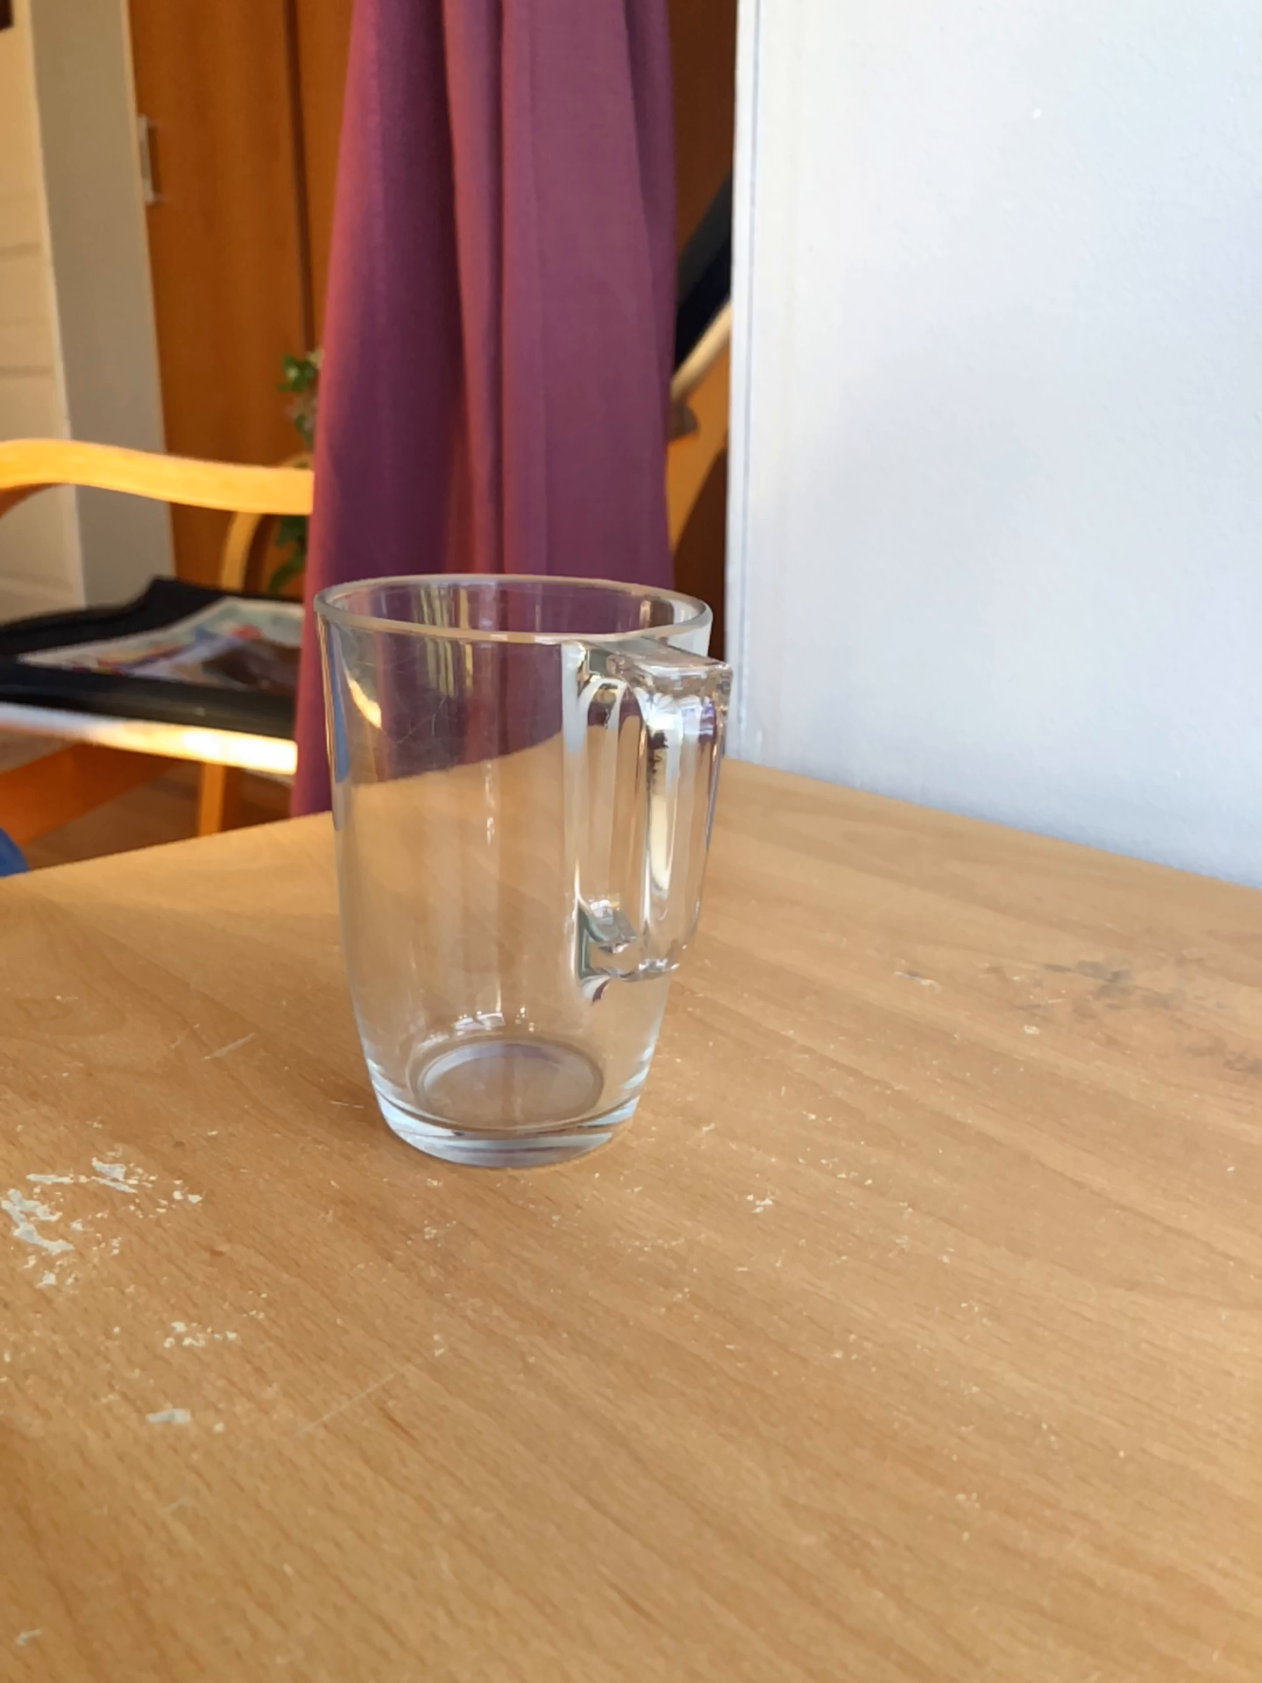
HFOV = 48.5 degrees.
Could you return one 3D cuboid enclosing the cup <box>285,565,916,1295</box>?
[{"bbox_3d":[-0.012,0.004,0.269,0.078,0.103,0.103,-7,17,-26],"label":"cup"}]
